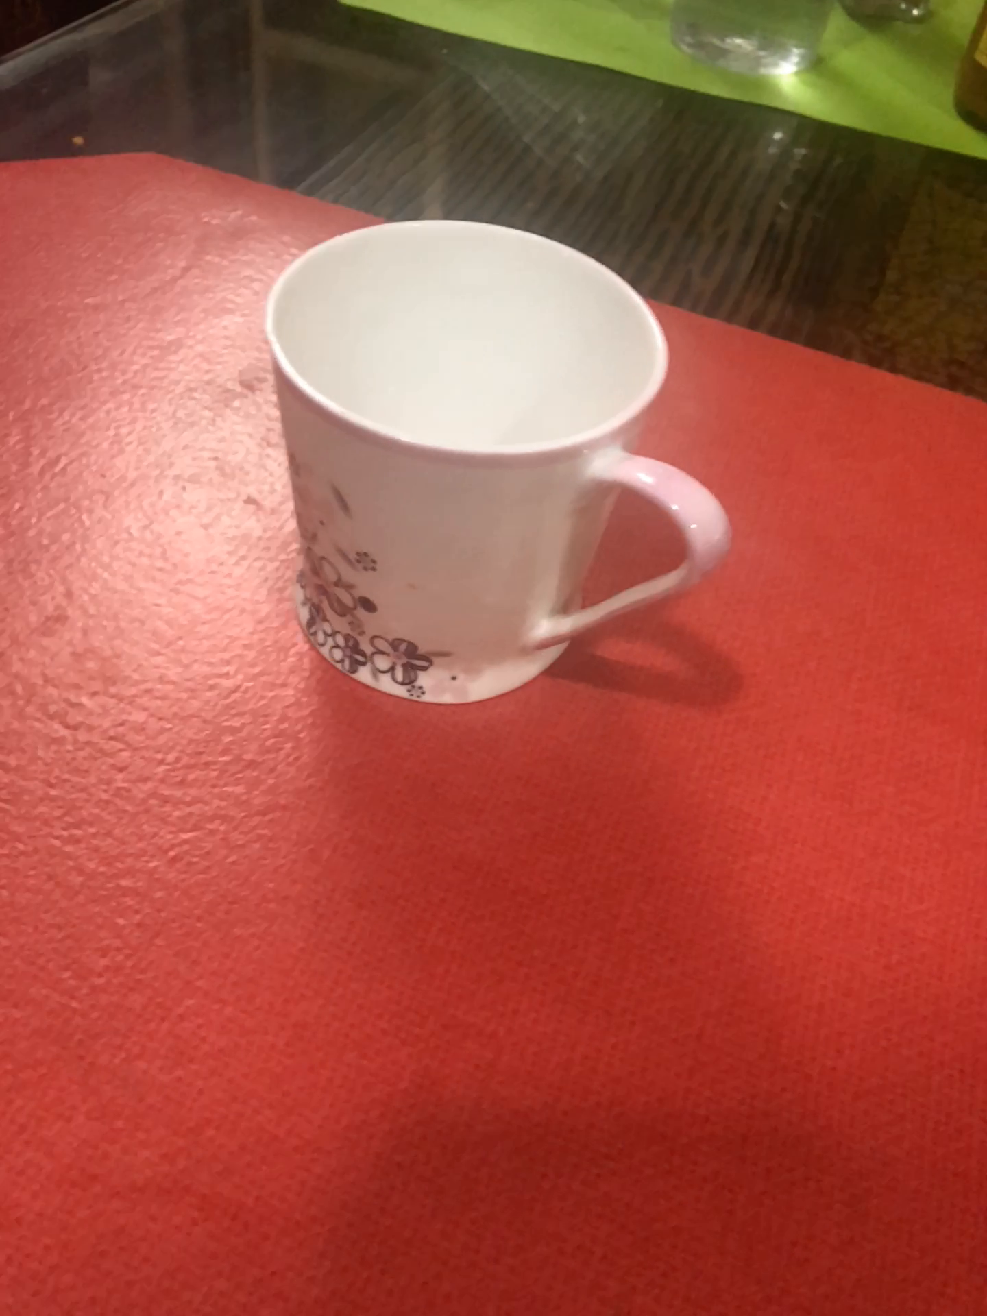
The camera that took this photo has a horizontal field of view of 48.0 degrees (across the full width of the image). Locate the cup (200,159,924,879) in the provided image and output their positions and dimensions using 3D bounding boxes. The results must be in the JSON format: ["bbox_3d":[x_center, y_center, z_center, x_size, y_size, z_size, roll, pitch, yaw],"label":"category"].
[{"bbox_3d":[0.009,-0.029,0.215,0.100,0.080,0.070,30,51,18],"label":"cup"}]
